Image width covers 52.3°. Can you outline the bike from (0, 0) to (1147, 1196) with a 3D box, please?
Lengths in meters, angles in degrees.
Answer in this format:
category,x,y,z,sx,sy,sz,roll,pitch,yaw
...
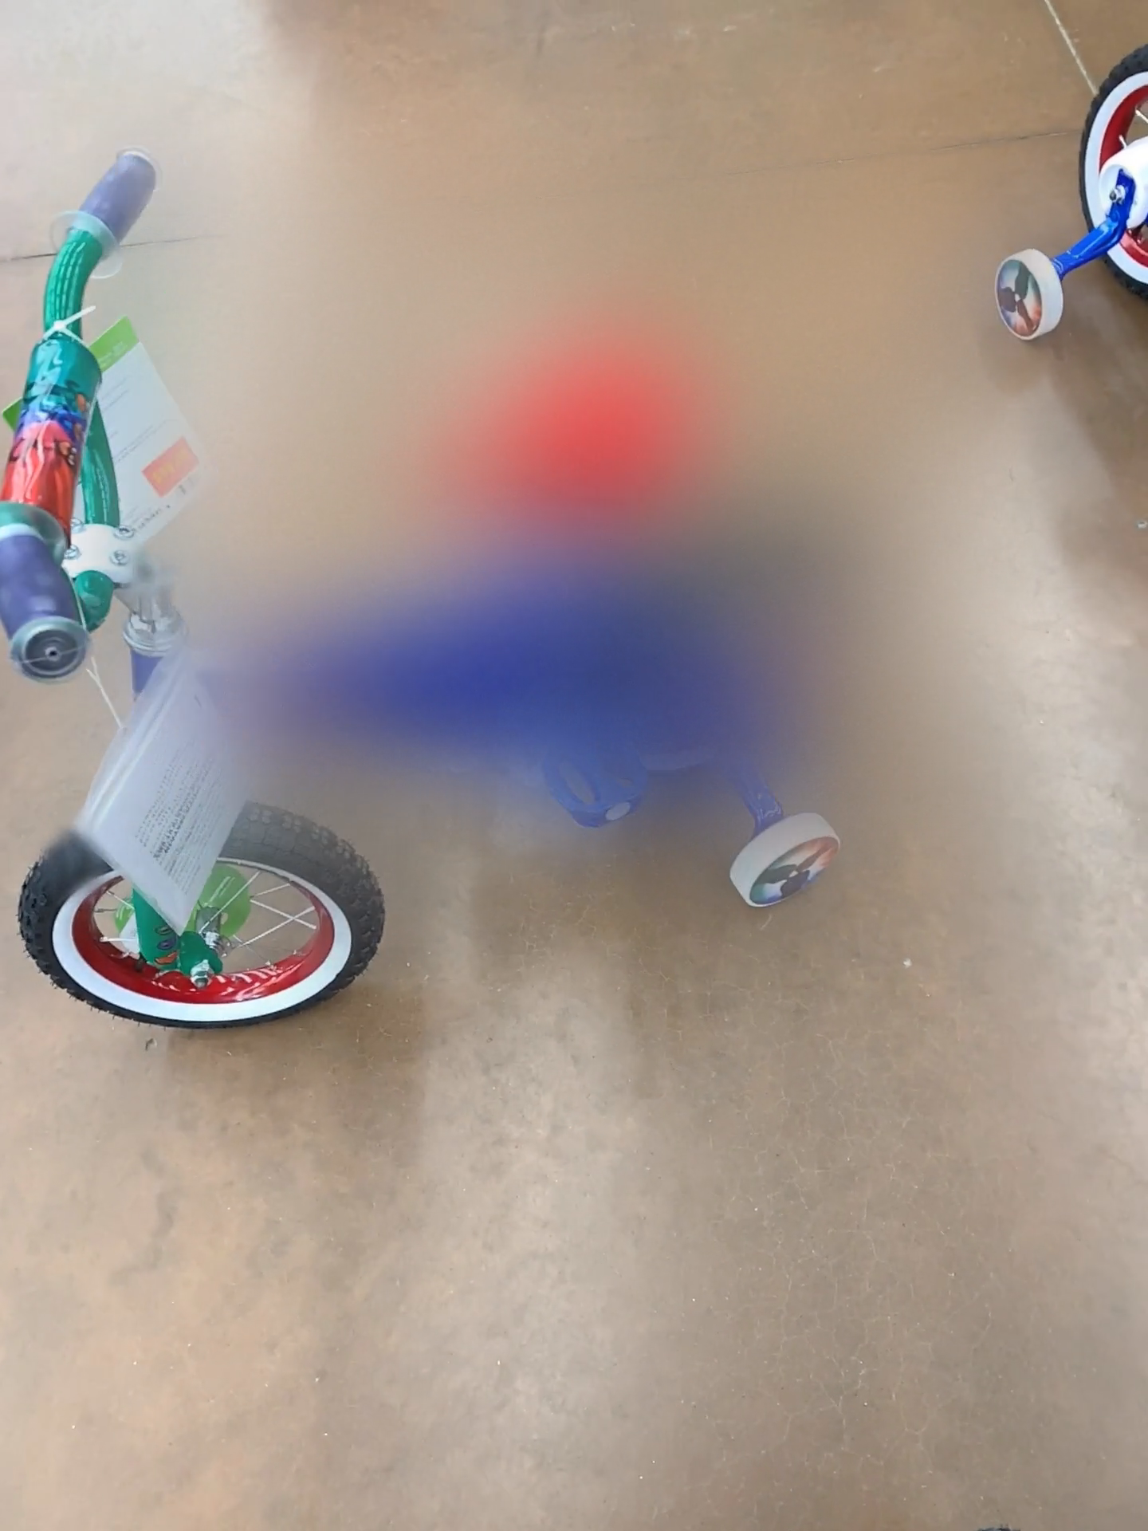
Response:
category,x,y,z,sx,sy,sz,roll,pitch,yaw
bike,-0.134,-0.128,0.916,0.775,0.670,0.461,-24,58,-10
